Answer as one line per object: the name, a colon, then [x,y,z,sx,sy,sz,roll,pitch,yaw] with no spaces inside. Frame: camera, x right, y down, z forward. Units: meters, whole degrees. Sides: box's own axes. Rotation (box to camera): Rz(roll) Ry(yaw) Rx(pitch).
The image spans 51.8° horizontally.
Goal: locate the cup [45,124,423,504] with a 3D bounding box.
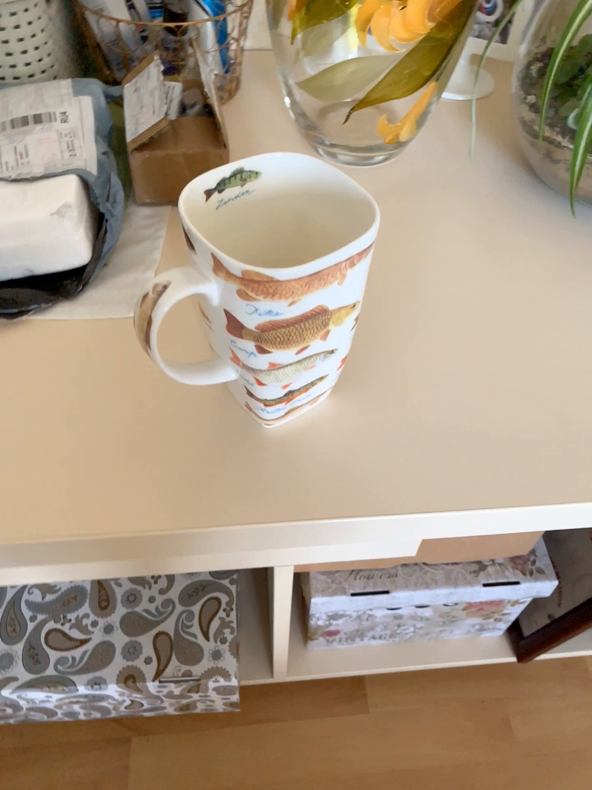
cup: [-0.030,-0.044,0.327,0.140,0.129,0.101,-26,56,-22]
